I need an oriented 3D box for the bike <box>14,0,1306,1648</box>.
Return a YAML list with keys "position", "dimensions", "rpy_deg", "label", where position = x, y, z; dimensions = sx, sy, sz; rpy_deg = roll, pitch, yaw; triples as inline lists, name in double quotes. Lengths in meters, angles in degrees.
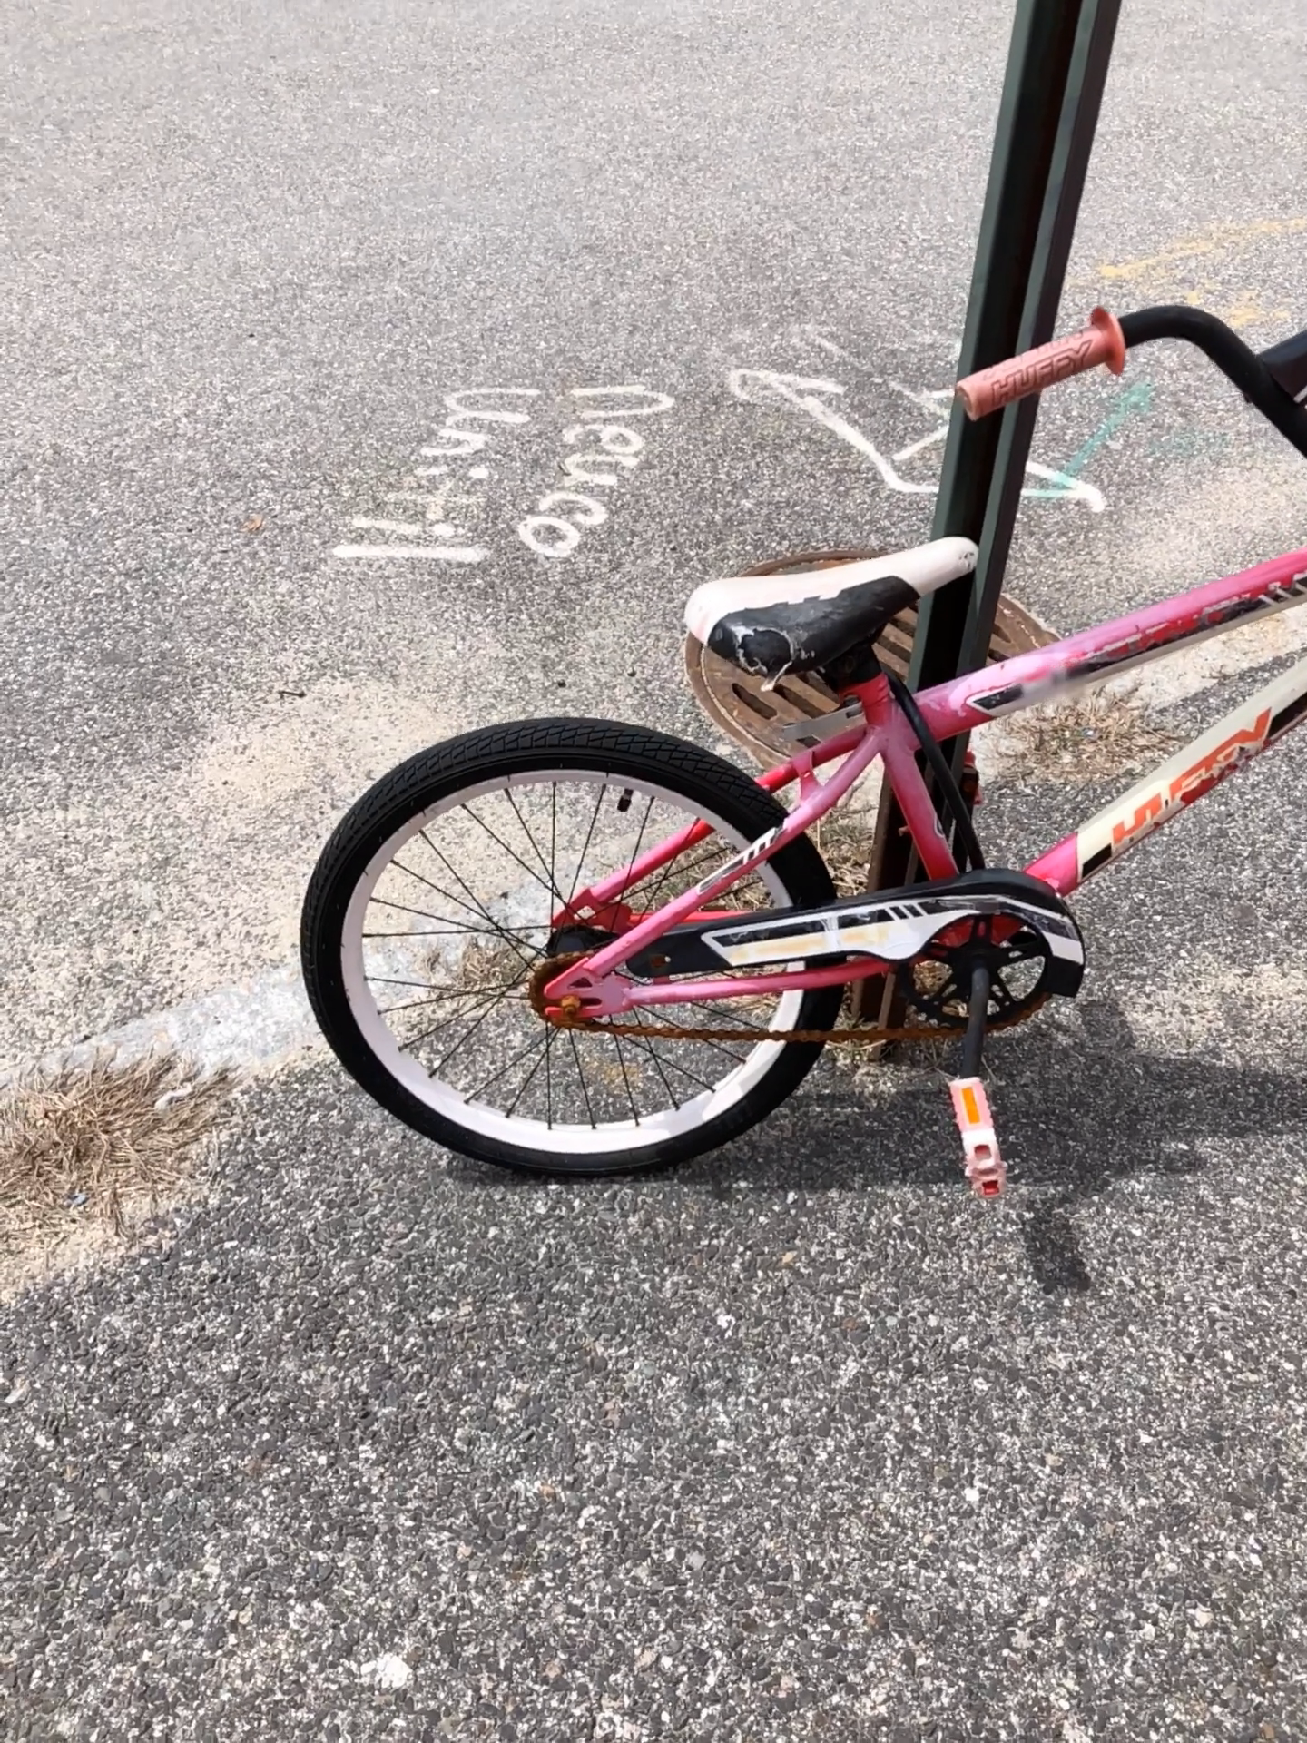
- position: [0.278, -0.086, 1.017]
  dimensions: [1.175, 0.887, 0.700]
  rpy_deg: [3, 44, 5]
  label: "bike"
